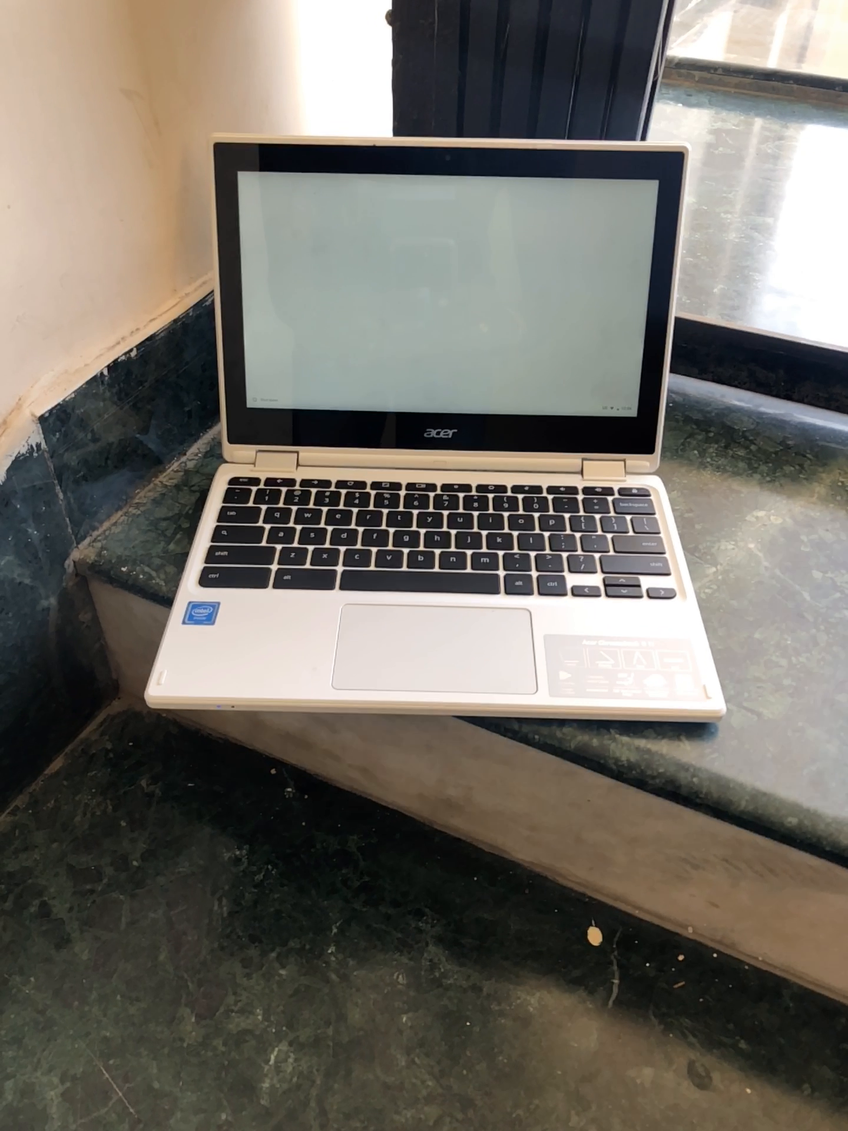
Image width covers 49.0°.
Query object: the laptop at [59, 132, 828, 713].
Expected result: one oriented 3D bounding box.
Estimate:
[{"bbox_3d":[0.010,-0.091,0.495,0.278,0.178,0.273,2,40,1],"label":"laptop"}]
